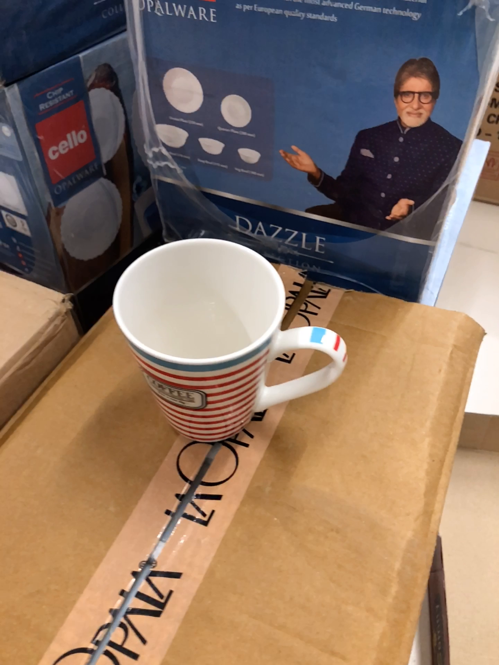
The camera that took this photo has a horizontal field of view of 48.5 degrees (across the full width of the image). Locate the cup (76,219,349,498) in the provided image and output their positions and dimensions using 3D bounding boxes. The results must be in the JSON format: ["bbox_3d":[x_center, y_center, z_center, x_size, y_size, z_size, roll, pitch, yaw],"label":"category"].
[{"bbox_3d":[-0.012,0.013,0.300,0.110,0.099,0.091,9,46,9],"label":"cup"}]
